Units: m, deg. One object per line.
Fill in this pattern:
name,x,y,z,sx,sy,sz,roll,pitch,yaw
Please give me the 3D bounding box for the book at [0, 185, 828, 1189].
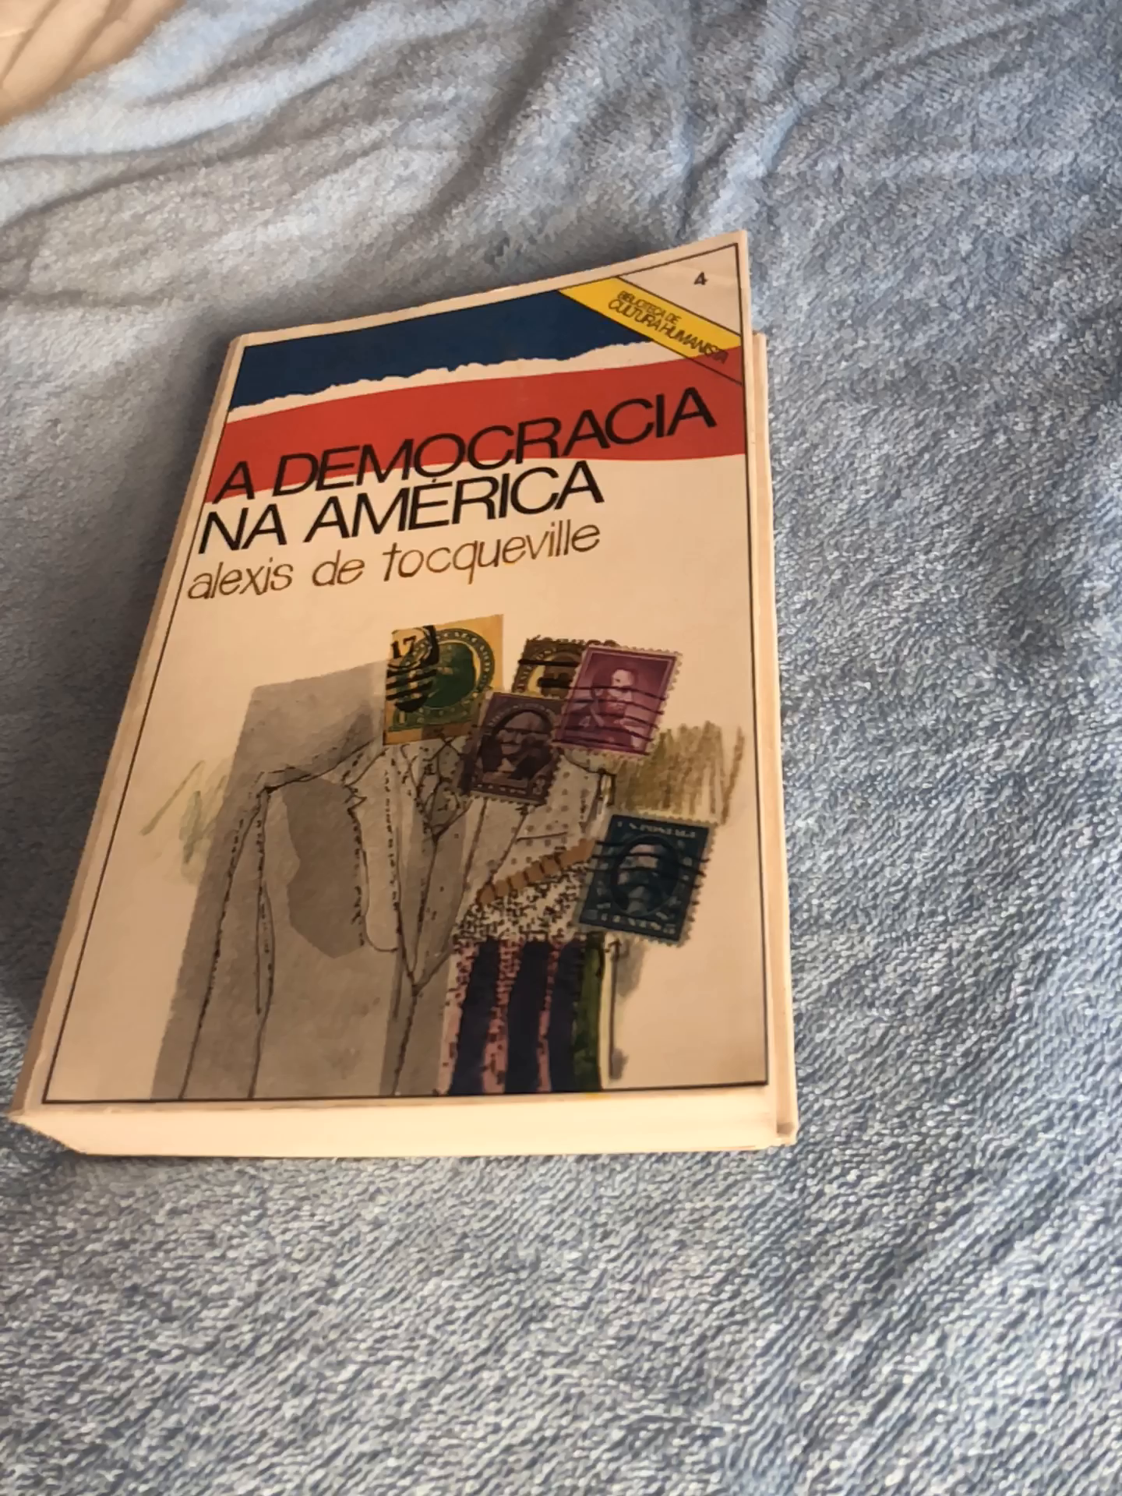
book,-0.023,-0.017,0.262,0.140,0.050,0.201,-4,61,14
